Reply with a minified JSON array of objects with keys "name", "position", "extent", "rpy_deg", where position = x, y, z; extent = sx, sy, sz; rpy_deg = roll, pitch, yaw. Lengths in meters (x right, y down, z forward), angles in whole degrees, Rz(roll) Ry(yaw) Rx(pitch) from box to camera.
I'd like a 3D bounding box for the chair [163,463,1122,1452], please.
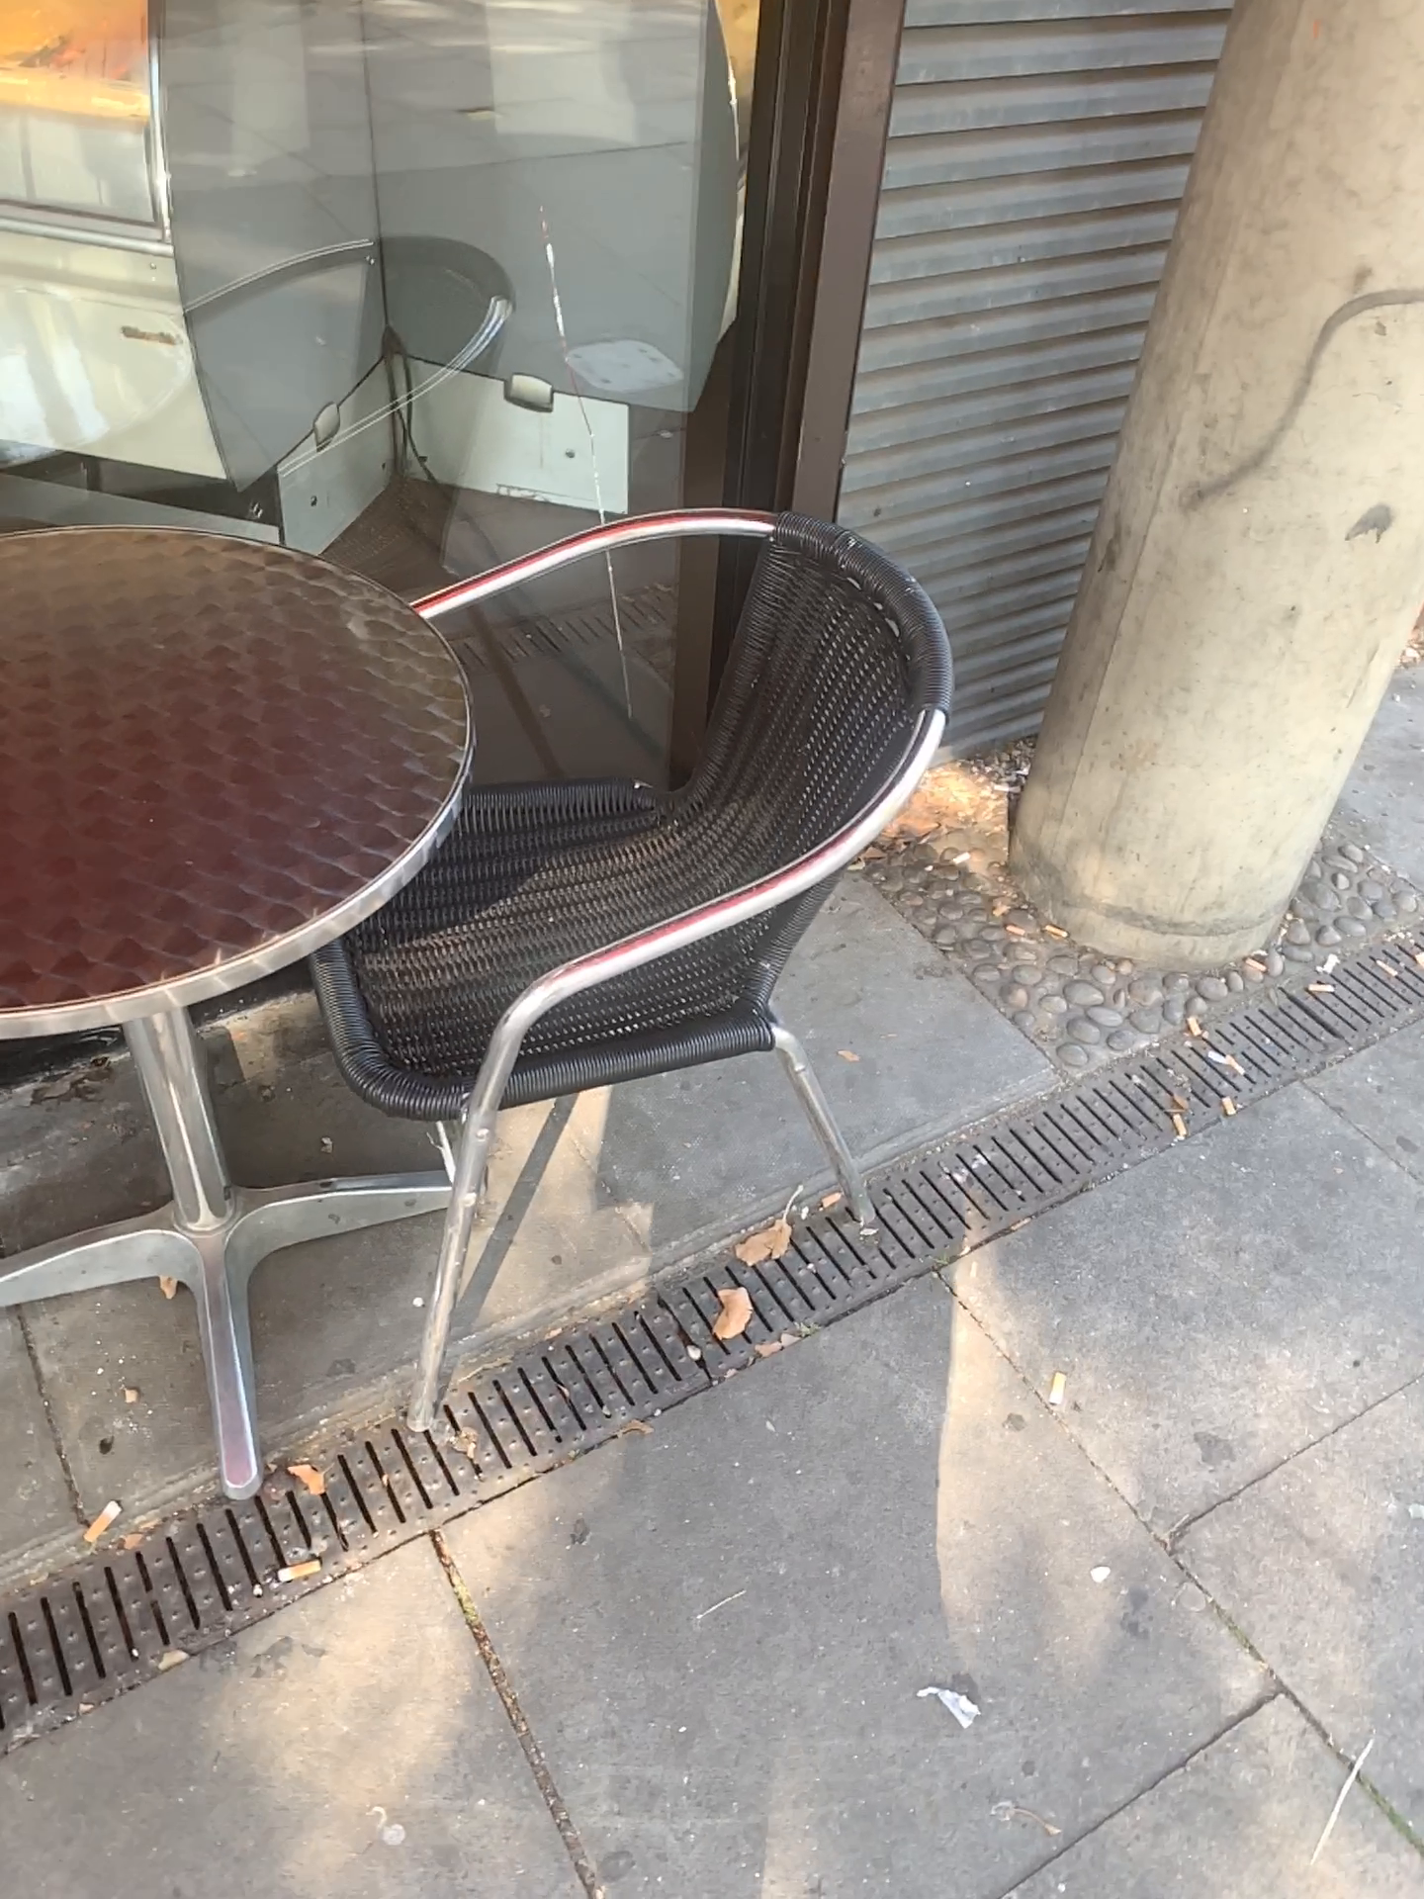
[{"name":"chair","position":[-0.109,-0.030,1.432],"extent":[0.641,0.604,0.605],"rpy_deg":[-14,45,-20]}]
